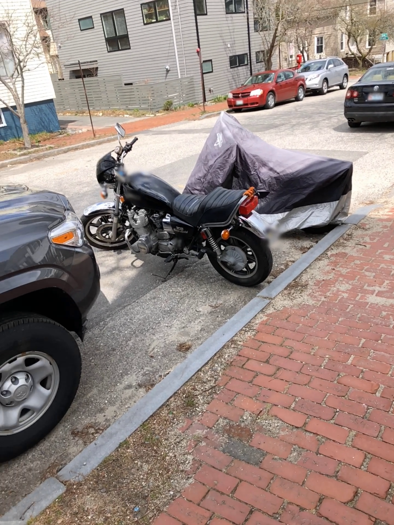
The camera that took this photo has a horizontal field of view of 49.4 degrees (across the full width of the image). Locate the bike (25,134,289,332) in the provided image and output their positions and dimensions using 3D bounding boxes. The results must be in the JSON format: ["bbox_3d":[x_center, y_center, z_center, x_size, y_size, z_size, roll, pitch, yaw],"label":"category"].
[{"bbox_3d":[-0.399,-0.397,4.019,2.298,1.419,0.689,10,31,33],"label":"bike"}]
